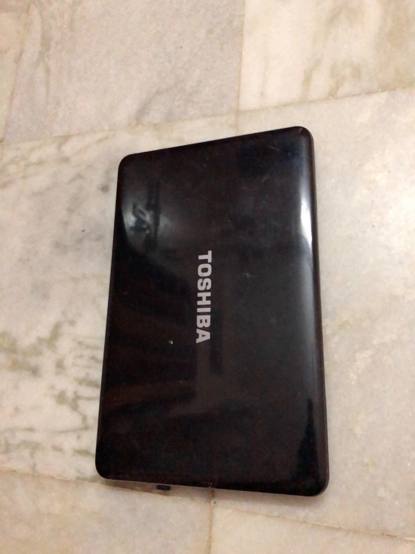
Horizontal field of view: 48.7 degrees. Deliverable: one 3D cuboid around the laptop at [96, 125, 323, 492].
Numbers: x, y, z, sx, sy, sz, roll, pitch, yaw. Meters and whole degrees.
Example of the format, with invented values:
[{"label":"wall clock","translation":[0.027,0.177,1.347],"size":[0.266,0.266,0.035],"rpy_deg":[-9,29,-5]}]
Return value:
[{"label":"laptop","translation":[-0.003,0.020,0.478],"size":[0.224,0.004,0.360],"rpy_deg":[-4,74,18]}]
